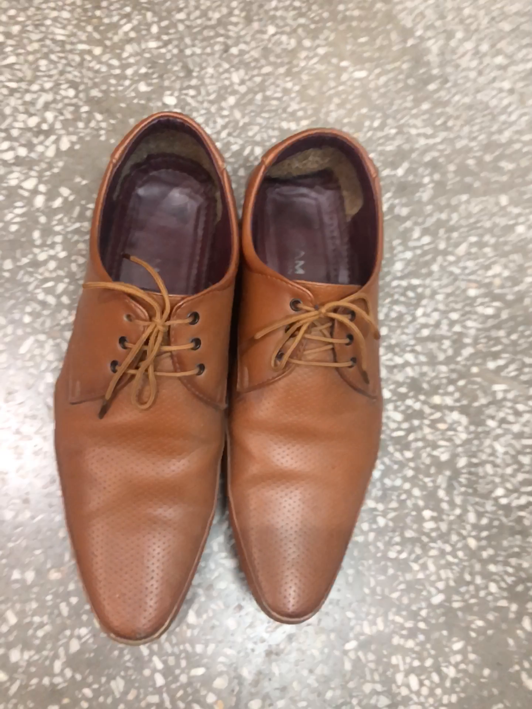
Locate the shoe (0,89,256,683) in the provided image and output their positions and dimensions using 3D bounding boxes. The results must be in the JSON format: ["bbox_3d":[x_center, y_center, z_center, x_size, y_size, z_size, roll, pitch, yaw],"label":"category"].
[{"bbox_3d":[-0.069,0.015,0.347,0.105,0.118,0.284,3,78,-9],"label":"shoe"}]

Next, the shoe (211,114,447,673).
[{"bbox_3d":[0.028,0.020,0.366,0.105,0.118,0.284,3,78,-9],"label":"shoe"}]
